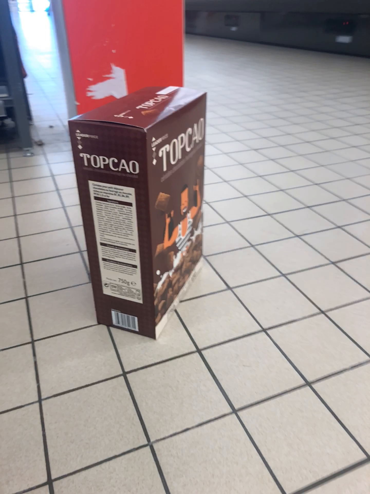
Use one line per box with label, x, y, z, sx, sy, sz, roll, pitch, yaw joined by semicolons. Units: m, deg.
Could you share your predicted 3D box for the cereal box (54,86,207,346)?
cereal box;-0.051;-0.050;0.565;0.100;0.288;0.201;11;34;19
